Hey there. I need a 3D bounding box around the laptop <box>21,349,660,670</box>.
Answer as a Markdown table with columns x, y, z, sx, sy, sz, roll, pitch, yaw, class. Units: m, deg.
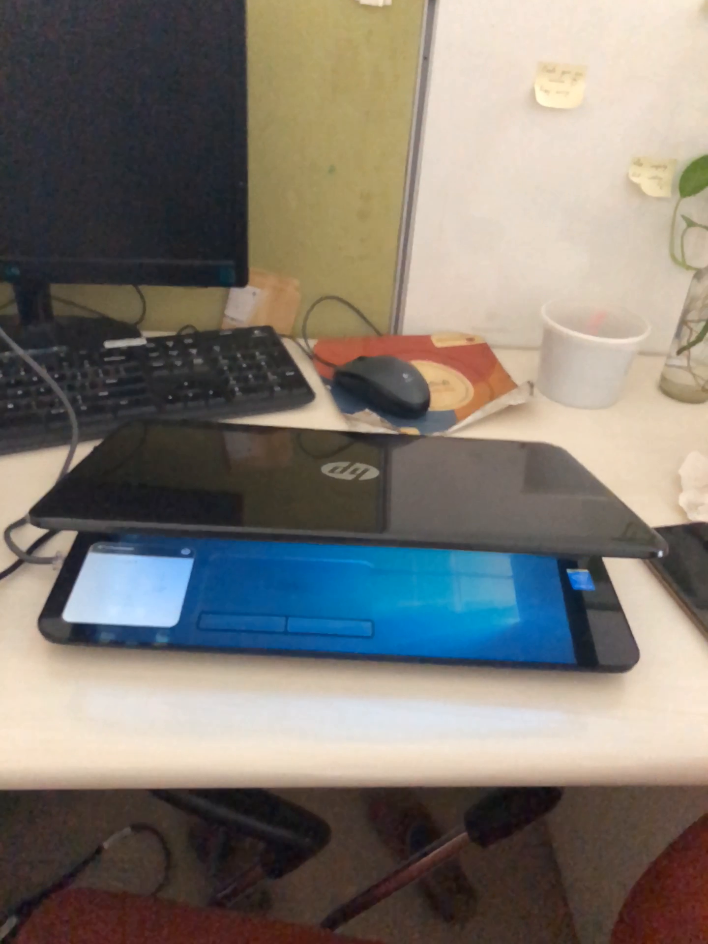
| x | y | z | sx | sy | sz | roll | pitch | yaw | class |
| --- | --- | --- | --- | --- | --- | --- | --- | --- | --- |
| -0.004 | 0.011 | 0.552 | 0.350 | 0.072 | 0.247 | 4 | 34 | -2 | laptop |
